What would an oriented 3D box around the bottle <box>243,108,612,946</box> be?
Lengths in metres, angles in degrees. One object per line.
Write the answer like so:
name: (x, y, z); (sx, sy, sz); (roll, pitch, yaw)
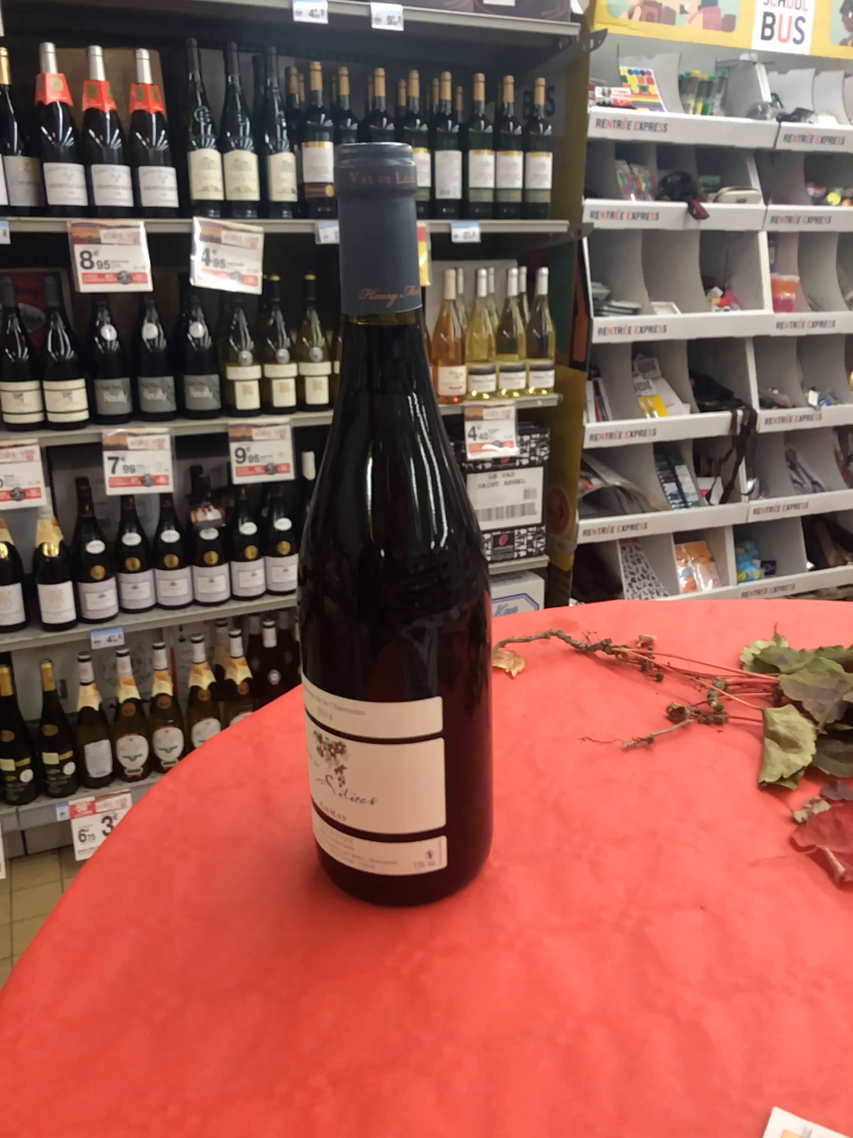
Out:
bottle: (-0.001, -0.014, 0.370); (0.090, 0.289, 0.090); (0, 19, 0)
